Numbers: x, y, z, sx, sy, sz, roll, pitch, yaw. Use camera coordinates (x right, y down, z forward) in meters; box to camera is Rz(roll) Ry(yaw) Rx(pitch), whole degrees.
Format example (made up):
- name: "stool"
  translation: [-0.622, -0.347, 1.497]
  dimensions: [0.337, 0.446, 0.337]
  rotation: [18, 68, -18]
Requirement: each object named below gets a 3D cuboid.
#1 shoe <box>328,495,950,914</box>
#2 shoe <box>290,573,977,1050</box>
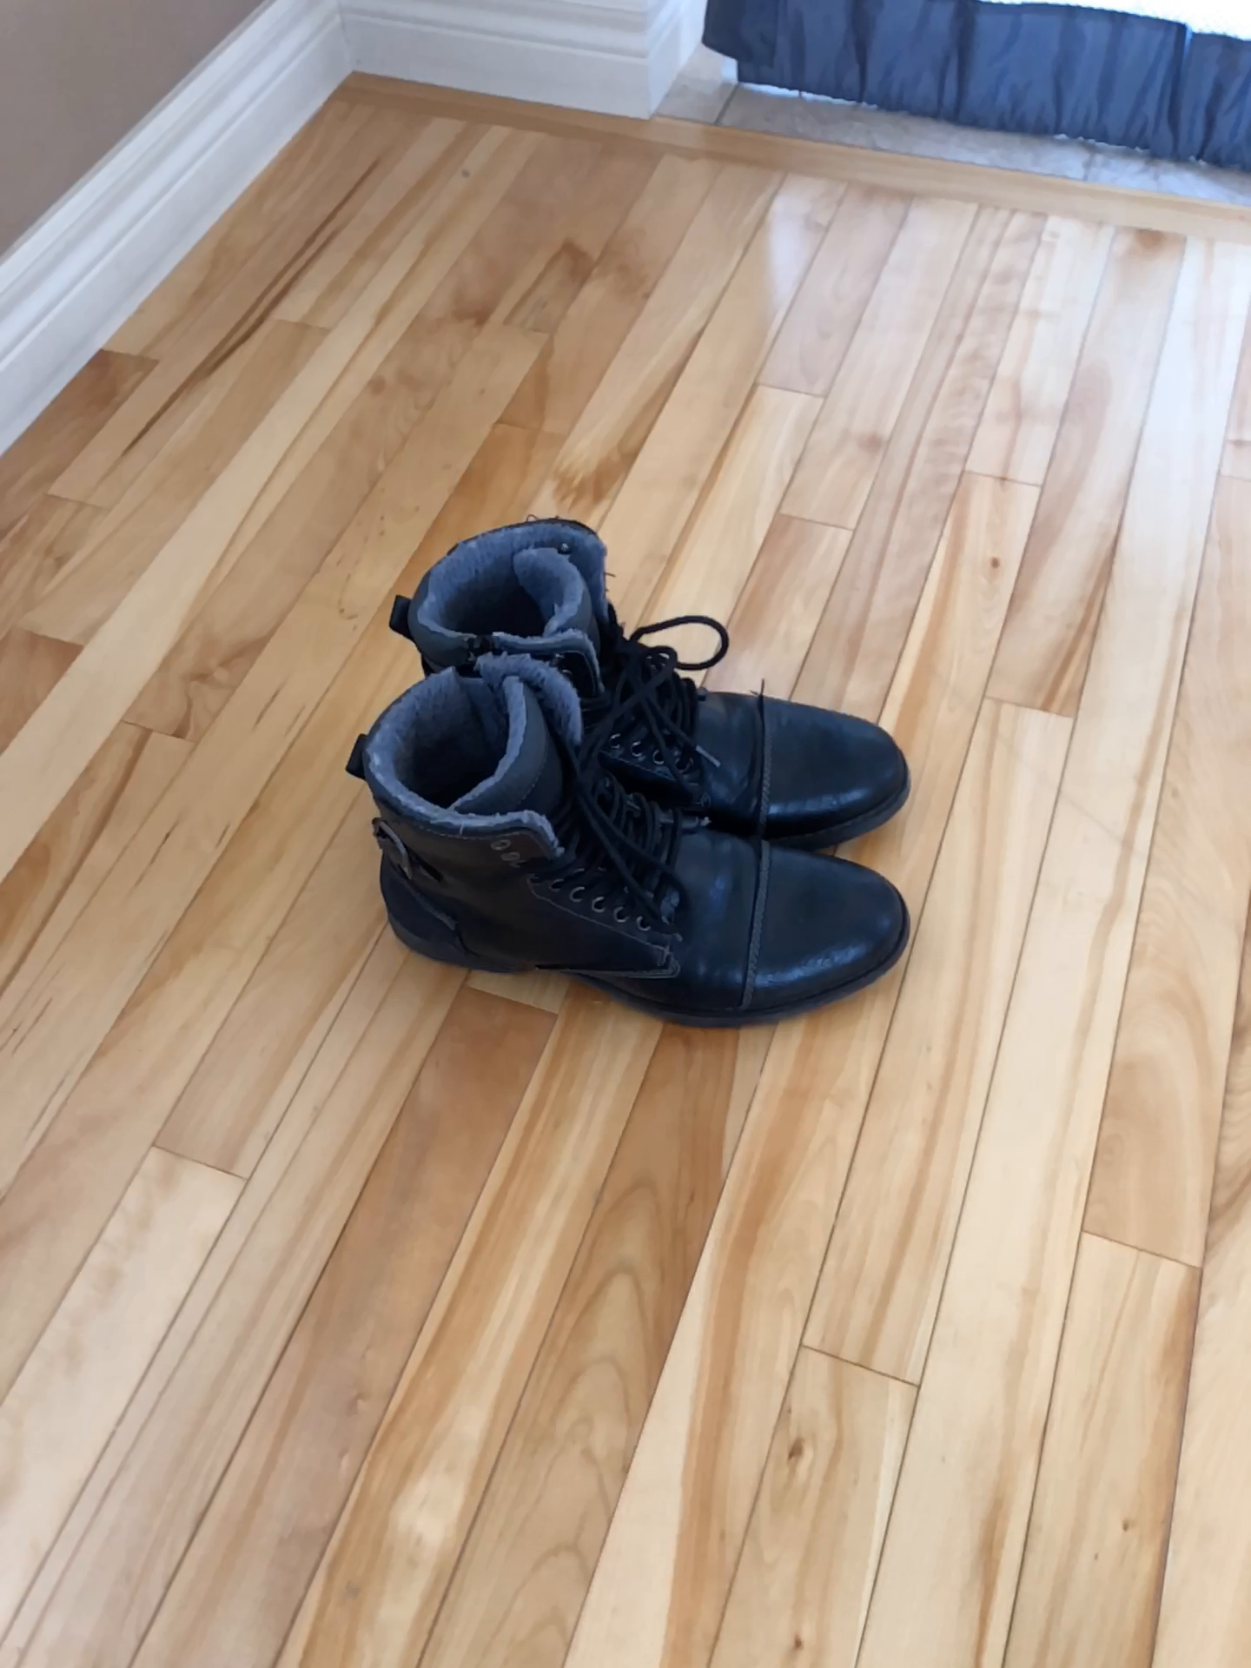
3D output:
- name: "shoe"
  translation: [0.013, -0.068, 0.778]
  dimensions: [0.300, 0.199, 0.120]
  rotation: [3, 55, 5]
- name: "shoe"
  translation: [0.011, -0.006, 0.691]
  dimensions: [0.290, 0.199, 0.120]
  rotation: [5, 56, 6]
